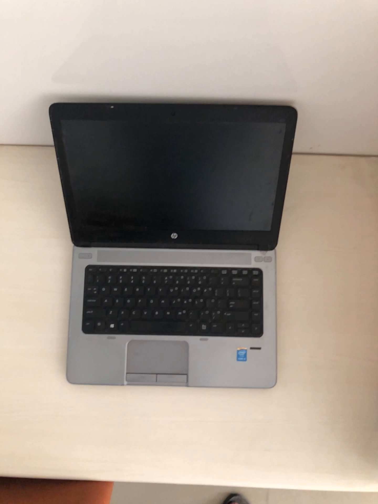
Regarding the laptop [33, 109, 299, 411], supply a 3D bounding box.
[{"bbox_3d":[-0.024,0.010,0.602,0.322,0.149,0.377,1,82,1],"label":"laptop"}]
